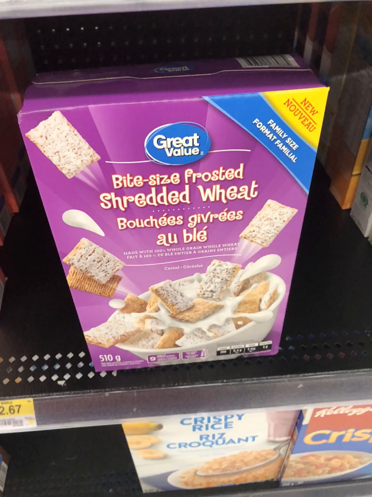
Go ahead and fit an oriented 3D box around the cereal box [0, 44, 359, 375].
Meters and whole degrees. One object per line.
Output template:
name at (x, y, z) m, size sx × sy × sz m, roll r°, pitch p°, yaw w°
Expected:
cereal box at (-0.003, -0.009, 0.355) m, size 0.210 × 0.279 × 0.070 m, roll -4°, pitch 41°, yaw -2°
